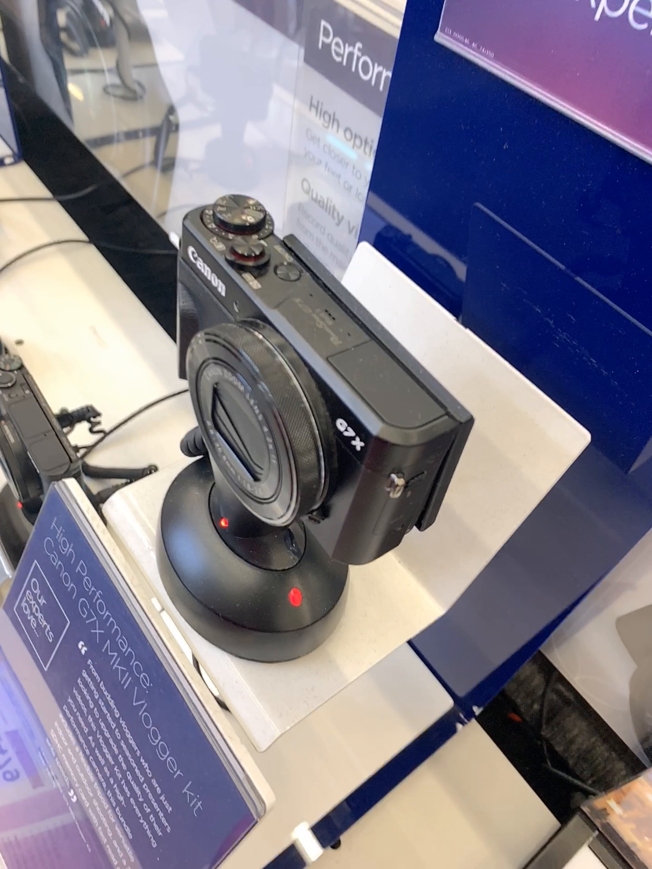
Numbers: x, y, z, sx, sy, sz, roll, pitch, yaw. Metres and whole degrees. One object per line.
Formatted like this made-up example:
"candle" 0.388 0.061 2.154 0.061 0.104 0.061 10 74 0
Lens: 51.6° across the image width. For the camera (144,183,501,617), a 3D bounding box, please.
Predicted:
"camera" -0.011 -0.014 0.193 0.038 0.059 0.109 -21 57 -29
